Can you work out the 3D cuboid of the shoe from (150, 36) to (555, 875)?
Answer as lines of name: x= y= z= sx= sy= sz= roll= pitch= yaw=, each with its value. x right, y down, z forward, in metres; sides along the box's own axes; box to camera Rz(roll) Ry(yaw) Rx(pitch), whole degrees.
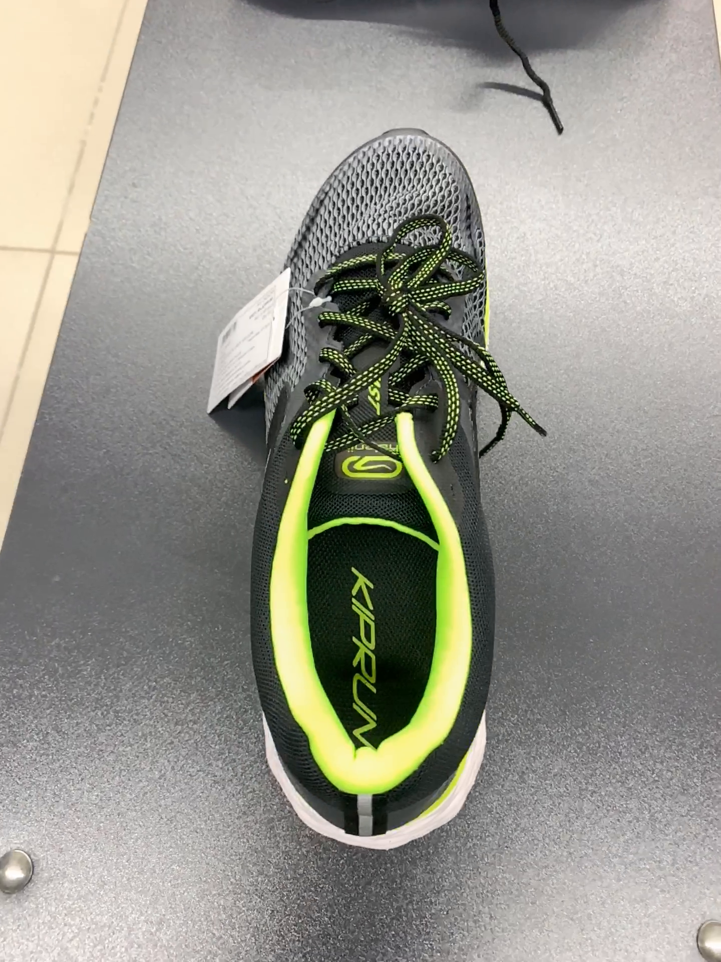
shoe: x=0.006 y=-0.022 z=0.309 sx=0.110 sy=0.110 sz=0.310 roll=2 pitch=69 yaw=2
